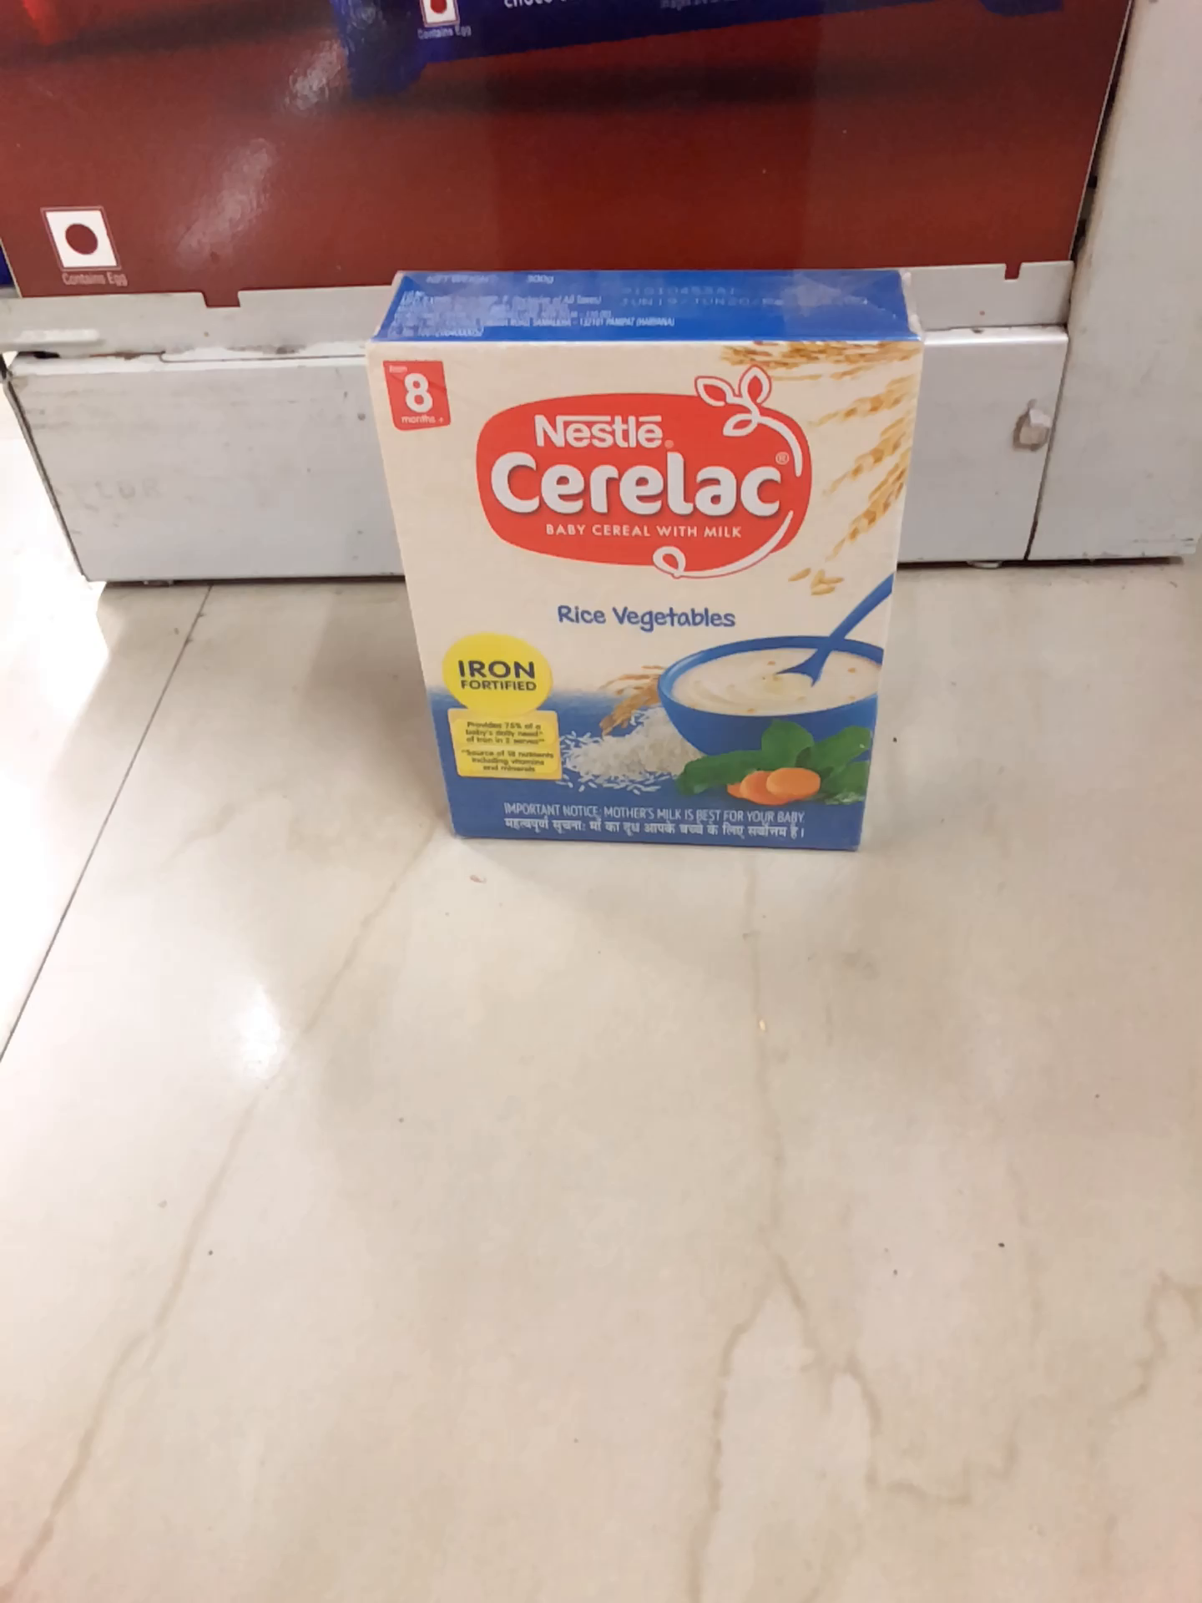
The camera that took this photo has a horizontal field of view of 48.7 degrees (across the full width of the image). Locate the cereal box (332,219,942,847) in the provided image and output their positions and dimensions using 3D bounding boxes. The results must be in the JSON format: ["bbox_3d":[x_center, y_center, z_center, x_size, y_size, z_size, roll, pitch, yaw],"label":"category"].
[{"bbox_3d":[0.014,-0.078,0.437,0.160,0.199,0.060,1,44,4],"label":"cereal box"}]
